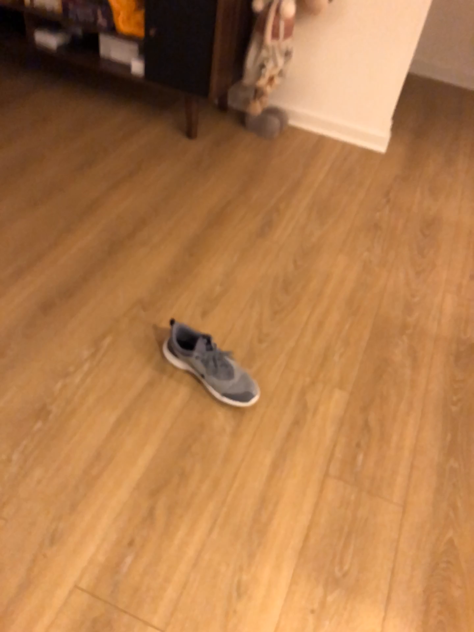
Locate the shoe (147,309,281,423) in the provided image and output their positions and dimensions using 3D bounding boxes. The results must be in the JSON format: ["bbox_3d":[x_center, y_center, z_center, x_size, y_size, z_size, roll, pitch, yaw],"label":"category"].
[{"bbox_3d":[-0.063,0.122,1.363,0.320,0.080,0.141,30,47,20],"label":"shoe"}]
